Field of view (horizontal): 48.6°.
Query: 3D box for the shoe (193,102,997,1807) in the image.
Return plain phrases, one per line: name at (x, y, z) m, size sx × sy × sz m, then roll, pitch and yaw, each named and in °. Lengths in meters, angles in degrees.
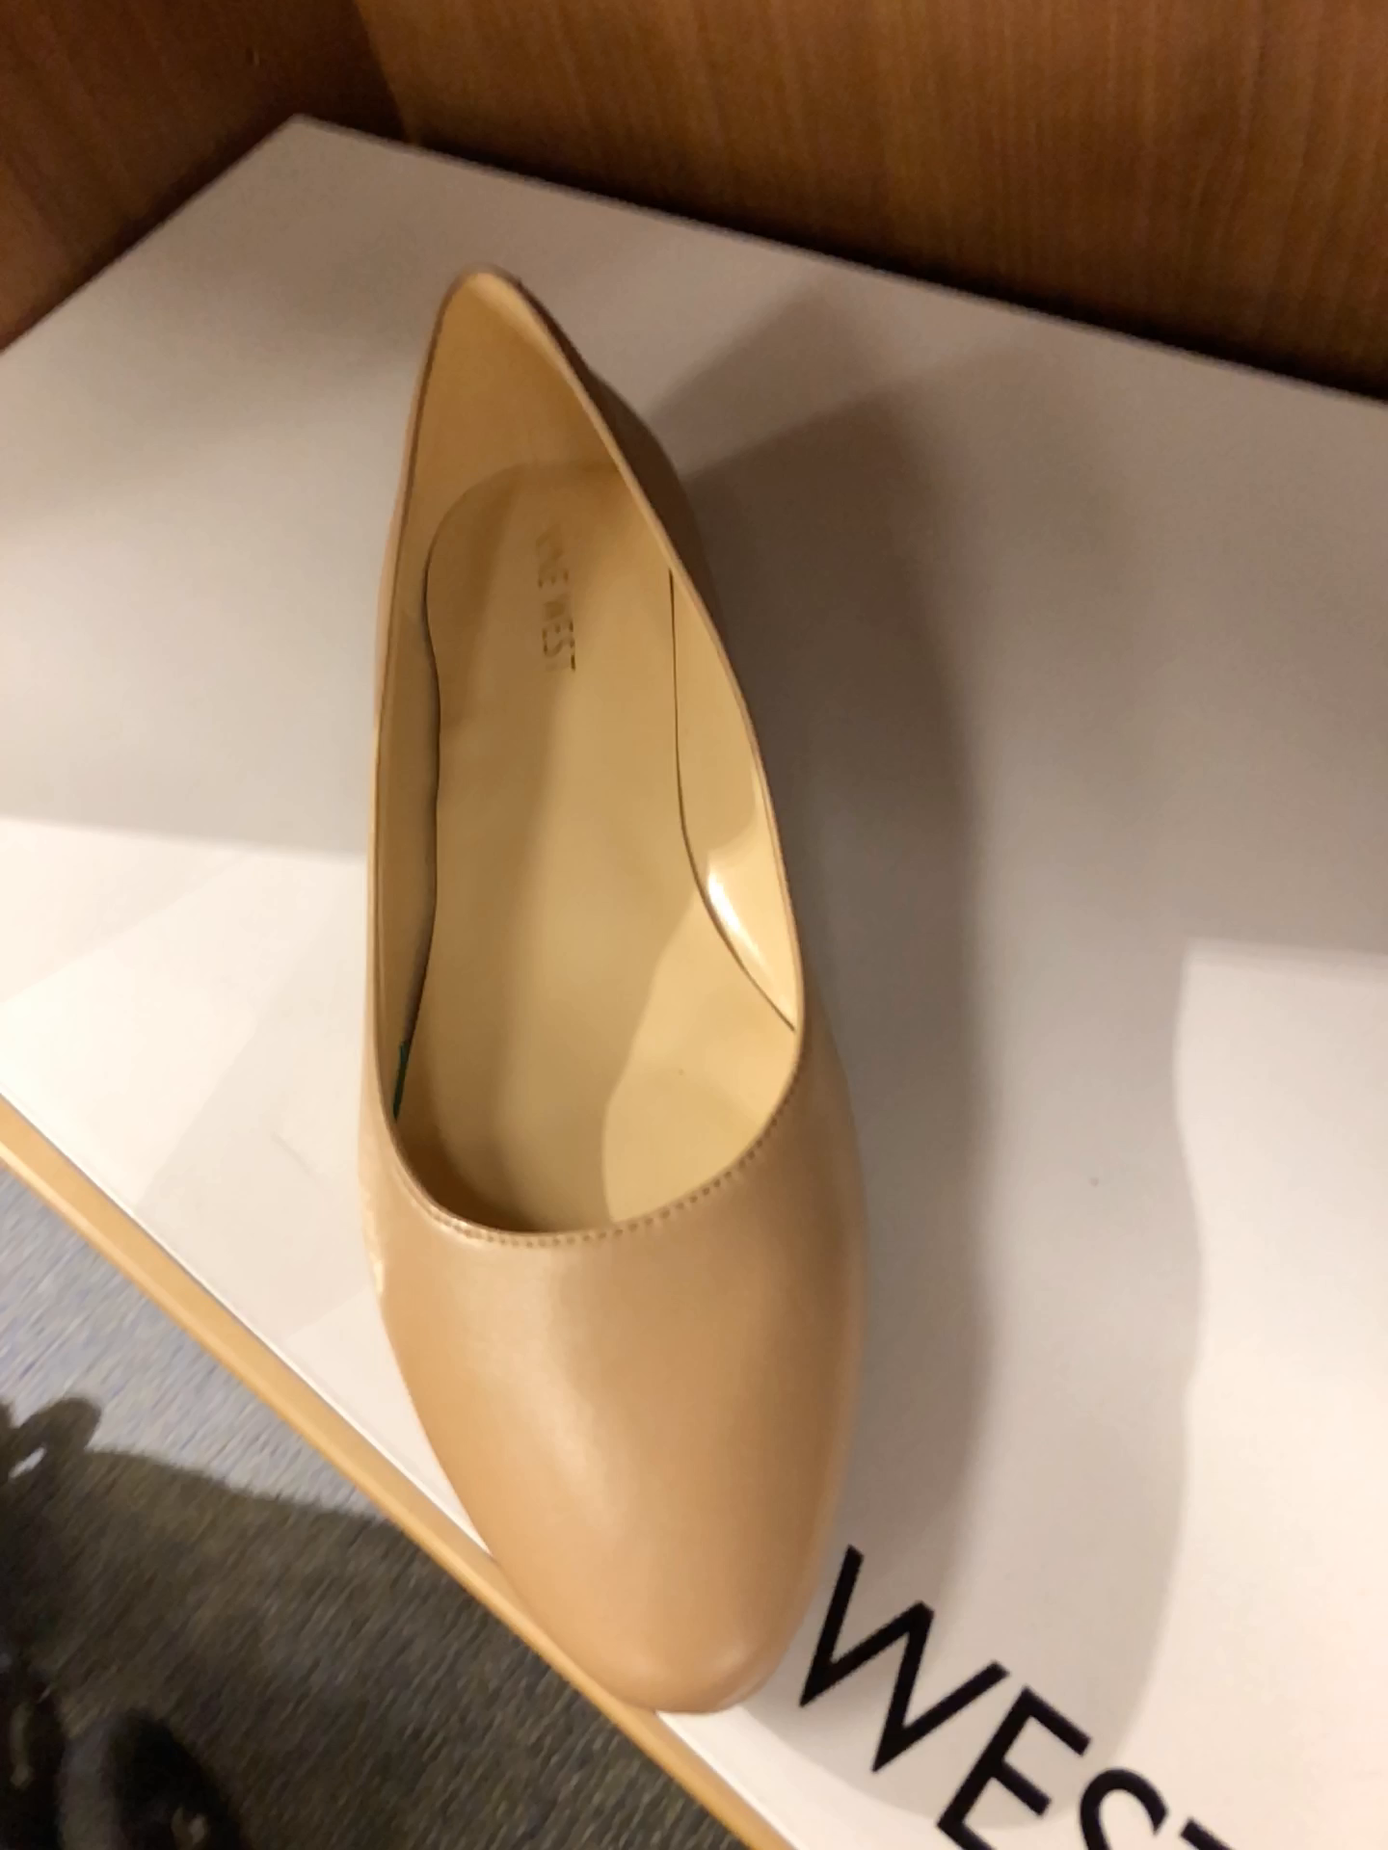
shoe at (-0.018, -0.013, 0.254) m, size 0.082 × 0.070 × 0.270 m, roll -11°, pitch 59°, yaw 8°
